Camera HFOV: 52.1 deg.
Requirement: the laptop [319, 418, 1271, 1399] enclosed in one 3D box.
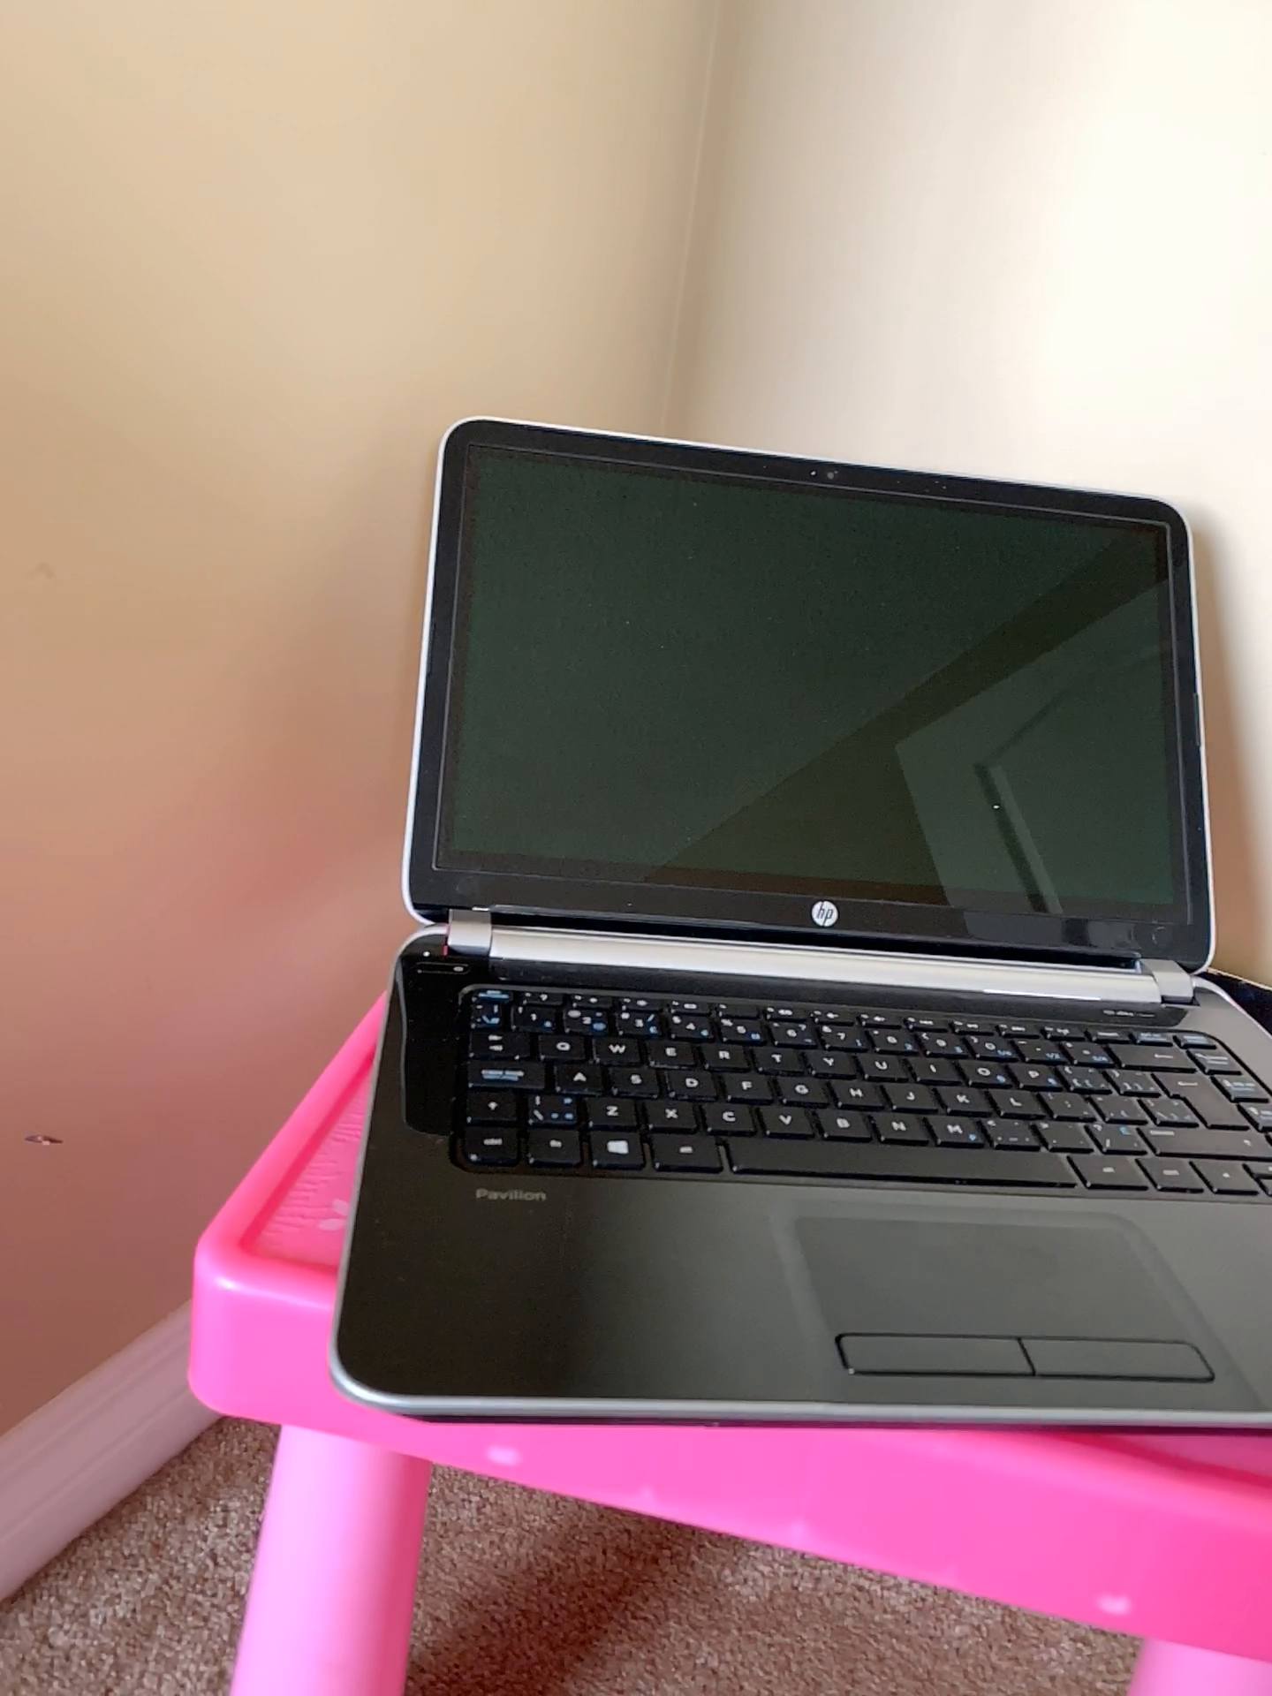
[{"bbox_3d":[0.068,-0.010,0.379,0.274,0.161,0.272,4,23,-8],"label":"laptop"}]
